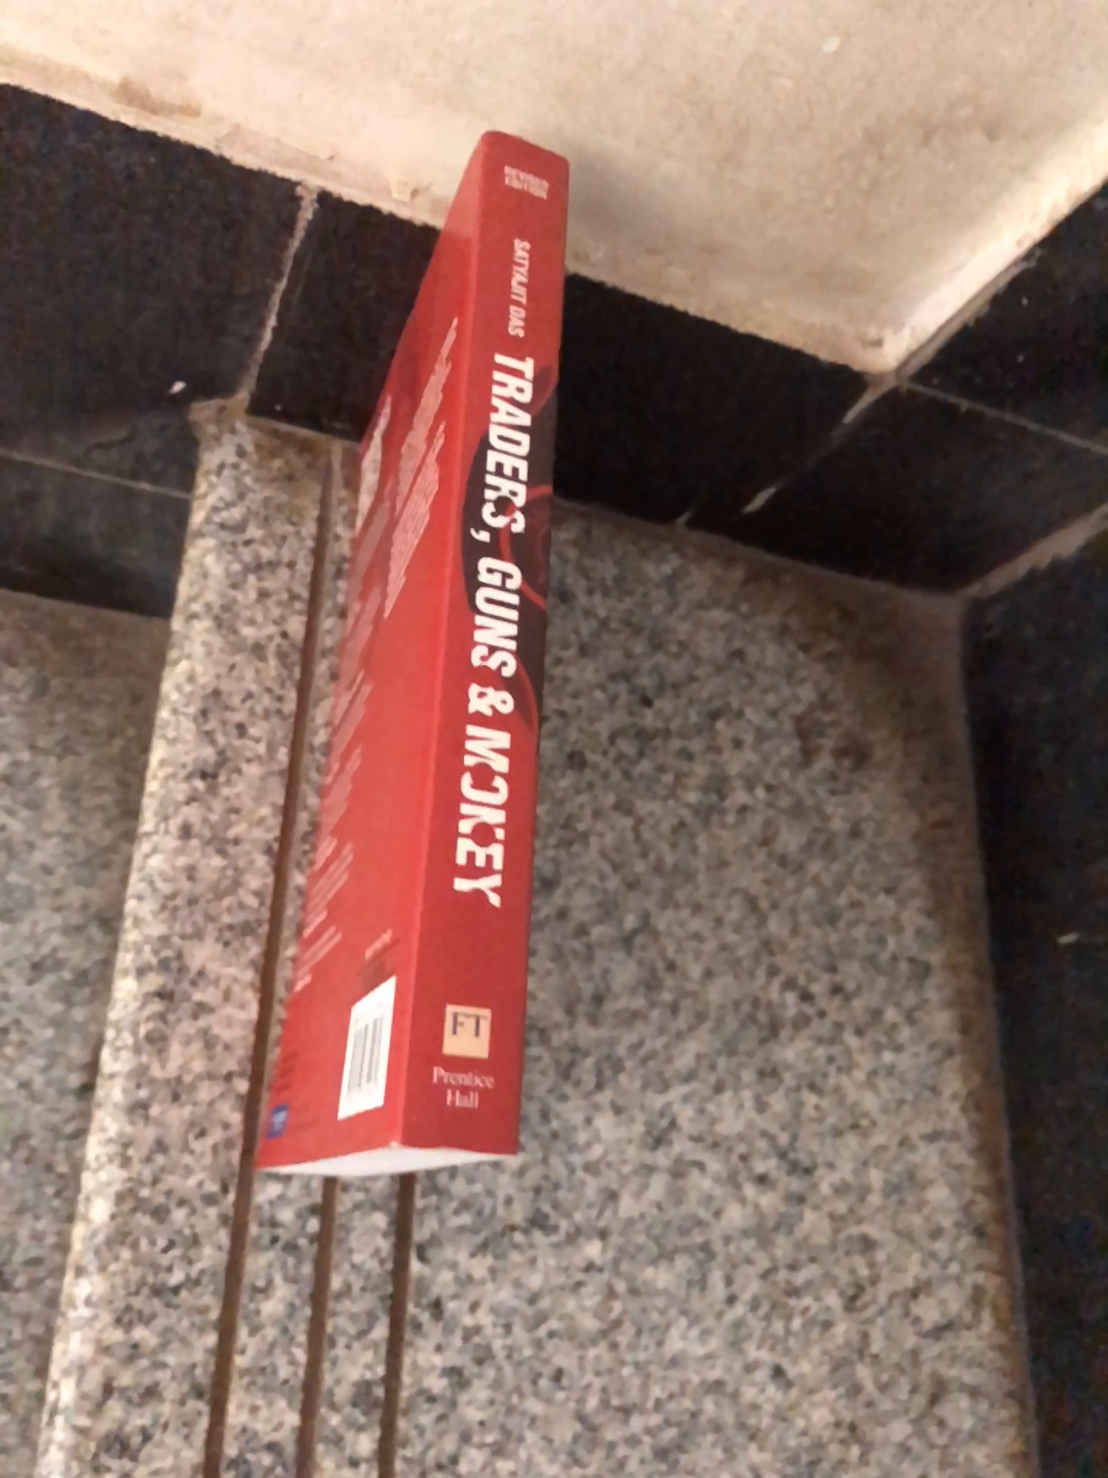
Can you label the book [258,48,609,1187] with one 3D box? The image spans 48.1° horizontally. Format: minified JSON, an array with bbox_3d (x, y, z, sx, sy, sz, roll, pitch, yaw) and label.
[{"bbox_3d":[-0.032,-0.017,0.299,0.030,0.150,0.230,10,67,-15],"label":"book"}]
